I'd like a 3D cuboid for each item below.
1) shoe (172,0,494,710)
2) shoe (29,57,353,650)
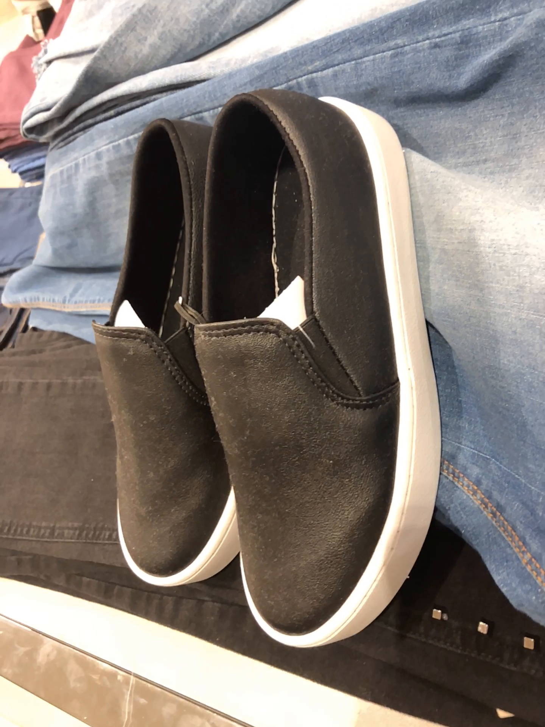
[{"bbox_3d":[0.032,-0.008,0.287,0.110,0.100,0.260,-2,84,37],"label":"shoe"},{"bbox_3d":[-0.044,-0.006,0.338,0.110,0.100,0.260,7,90,39],"label":"shoe"}]
